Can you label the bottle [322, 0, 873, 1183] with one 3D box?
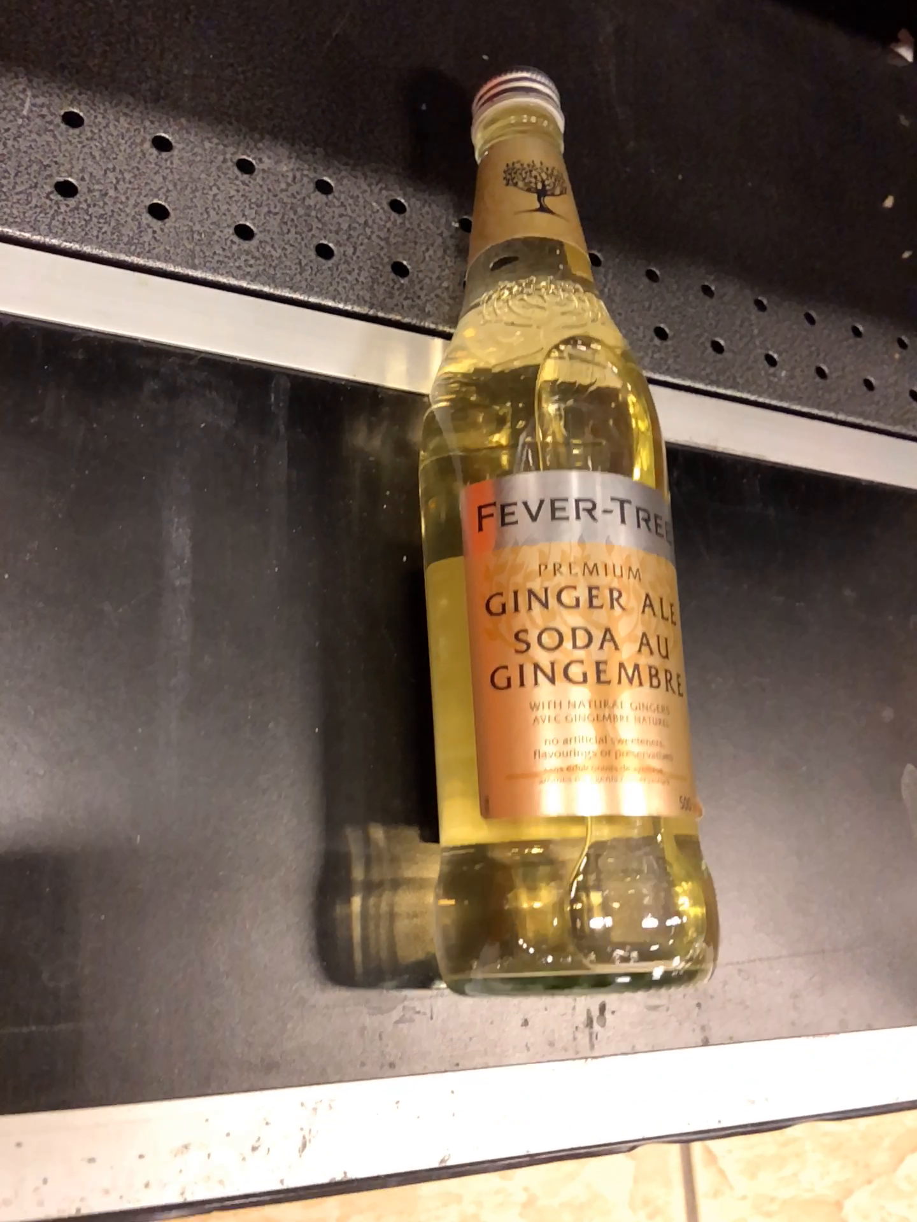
[{"bbox_3d":[0.020,-0.016,0.276,0.090,0.090,0.280,6,69,-24],"label":"bottle"}]
